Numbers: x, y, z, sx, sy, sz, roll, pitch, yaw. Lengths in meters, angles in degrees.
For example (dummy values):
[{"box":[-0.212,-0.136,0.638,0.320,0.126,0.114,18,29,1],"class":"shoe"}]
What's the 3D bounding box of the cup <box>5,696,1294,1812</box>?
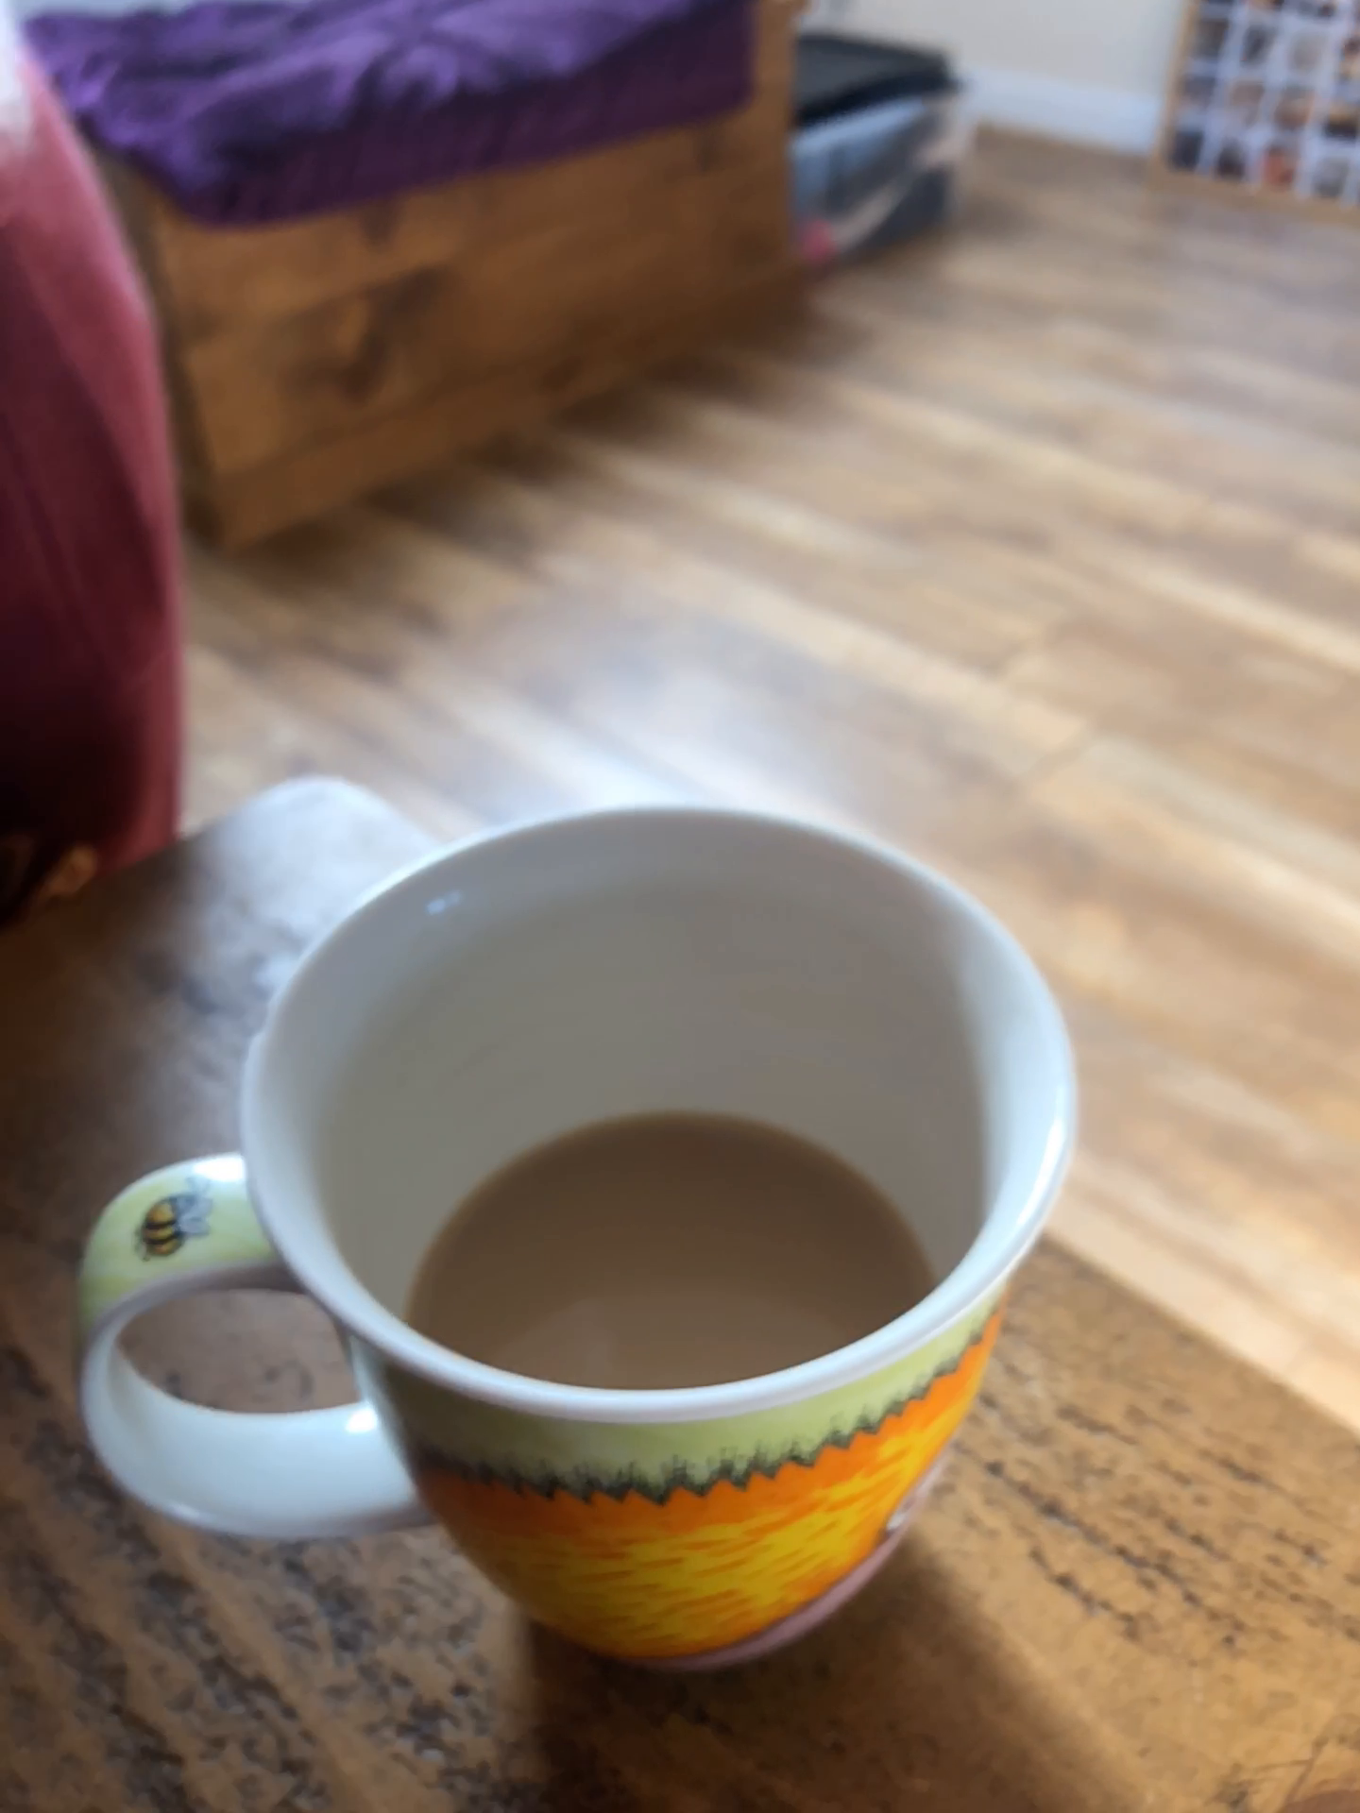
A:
[{"box":[-0.011,0.049,0.216,0.127,0.089,0.107,-13,41,-11],"class":"cup"}]
